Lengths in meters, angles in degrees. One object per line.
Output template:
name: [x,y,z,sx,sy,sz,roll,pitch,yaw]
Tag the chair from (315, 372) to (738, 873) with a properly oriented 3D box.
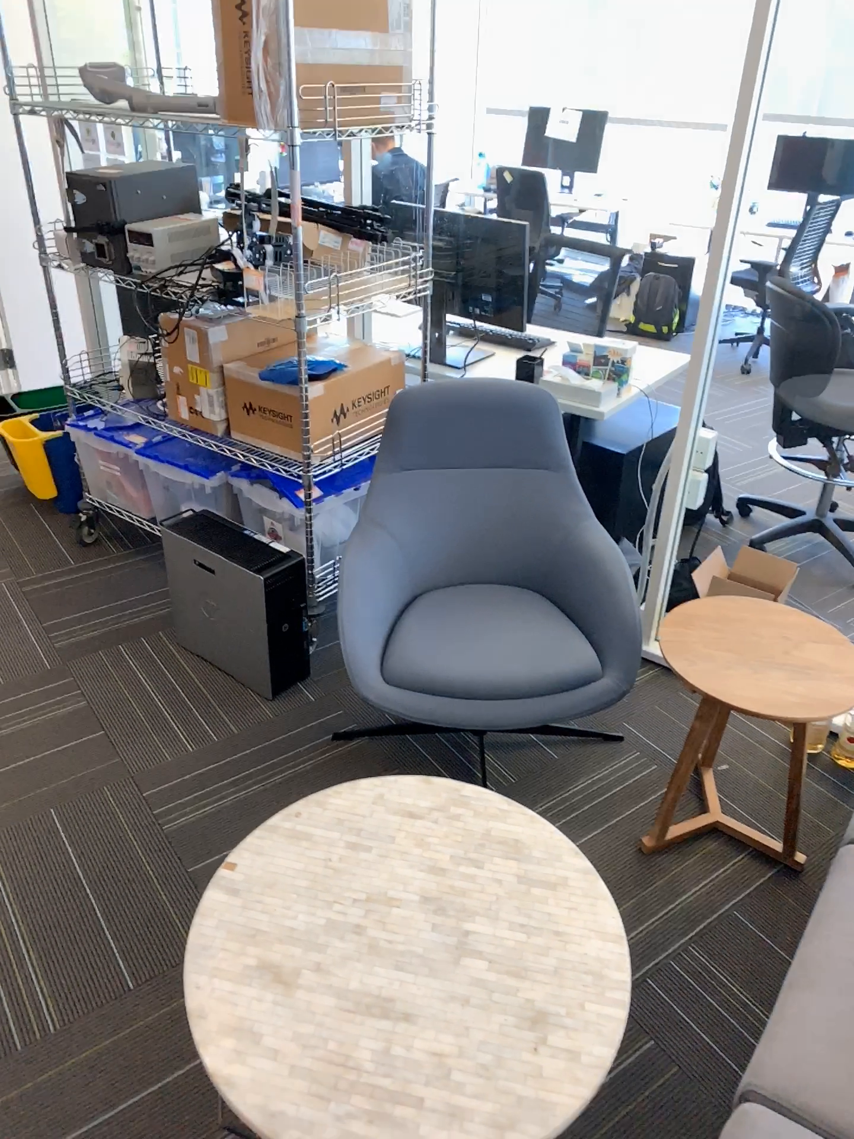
chair: [0.183,0.095,2.405,0.840,0.964,1.006,1,31,-1]
